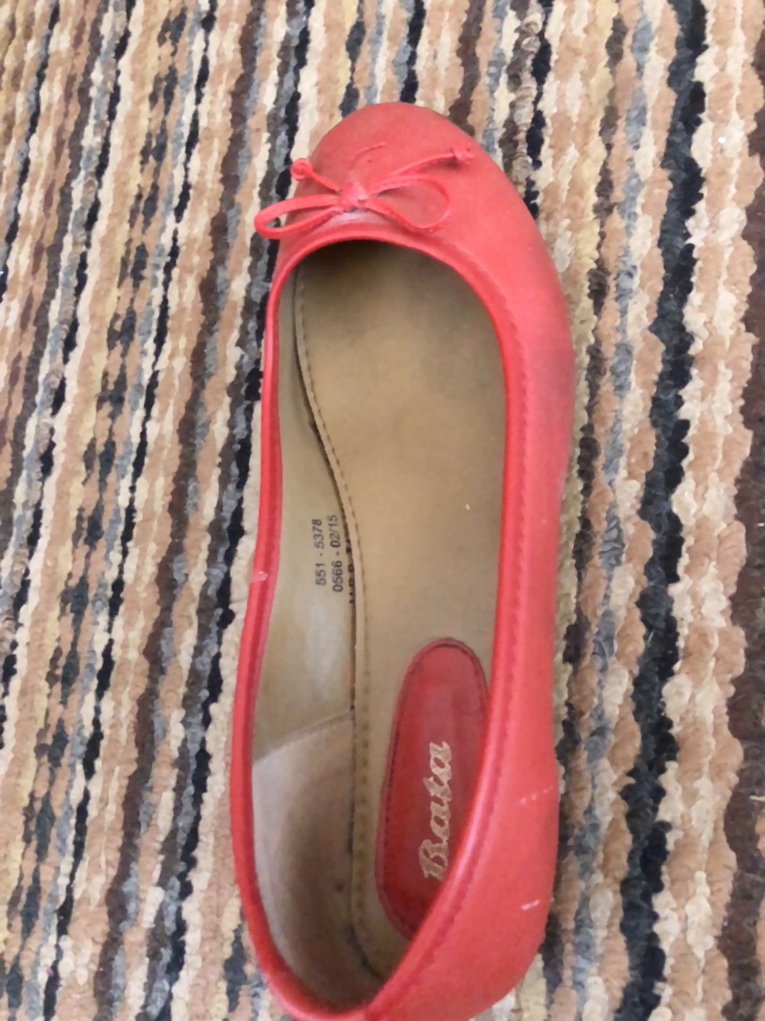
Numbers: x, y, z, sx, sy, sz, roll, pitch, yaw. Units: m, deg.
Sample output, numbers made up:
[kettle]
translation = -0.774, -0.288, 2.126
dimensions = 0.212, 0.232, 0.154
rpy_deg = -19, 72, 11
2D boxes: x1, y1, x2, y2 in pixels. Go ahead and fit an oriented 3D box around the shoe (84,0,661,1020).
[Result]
[shoe]
translation = 0.004, -0.012, 0.235
dimensions = 0.100, 0.110, 0.270
rpy_deg = -8, 75, 25
